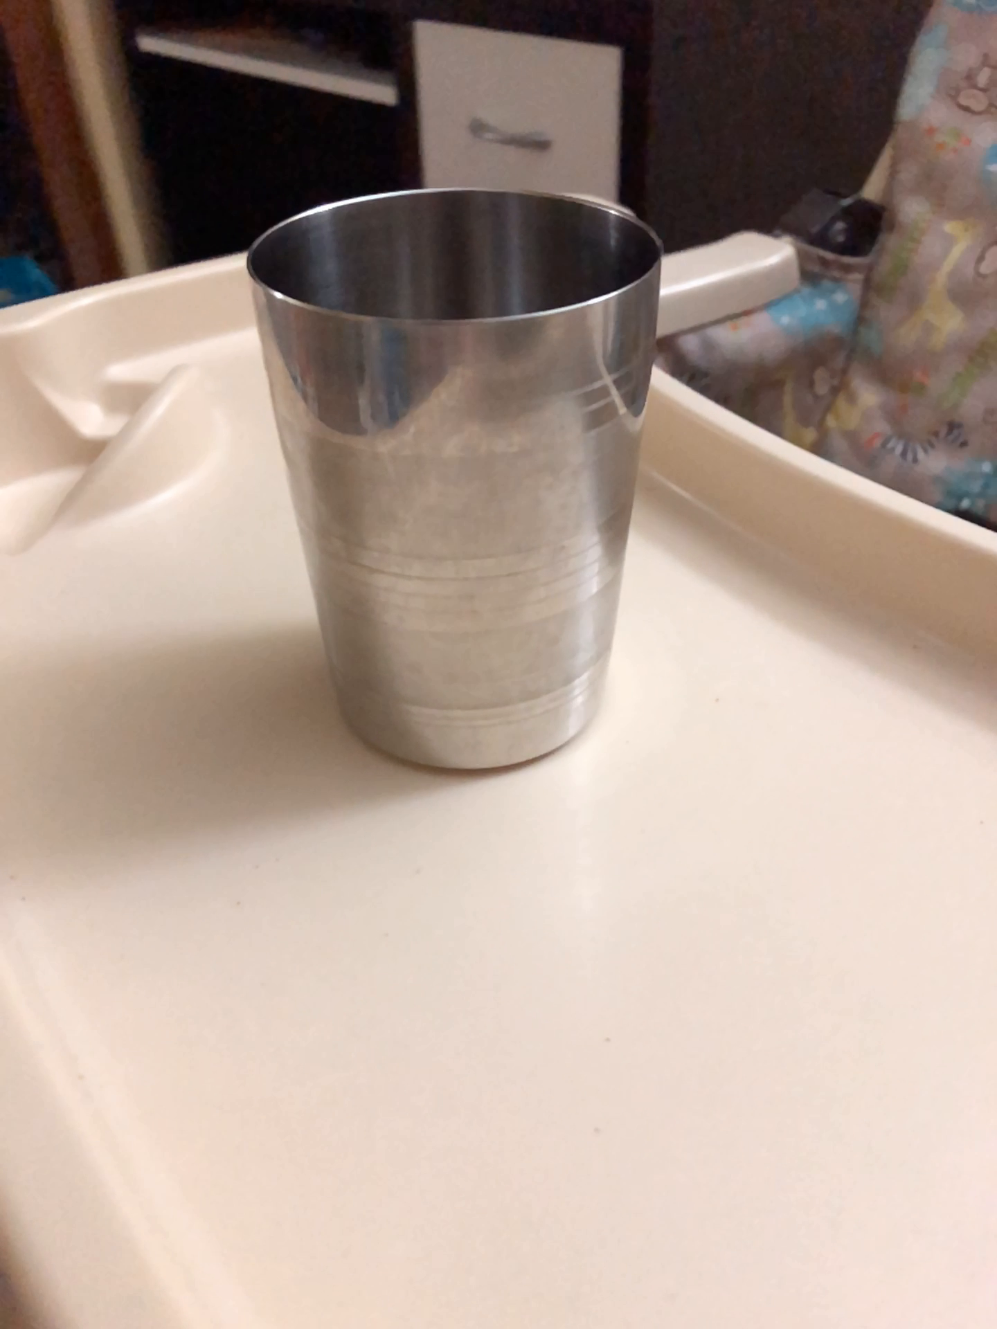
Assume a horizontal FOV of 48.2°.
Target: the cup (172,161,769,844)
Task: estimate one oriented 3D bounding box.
[{"bbox_3d":[-0.006,-0.034,0.213,0.073,0.090,0.073,-2,38,1],"label":"cup"}]
